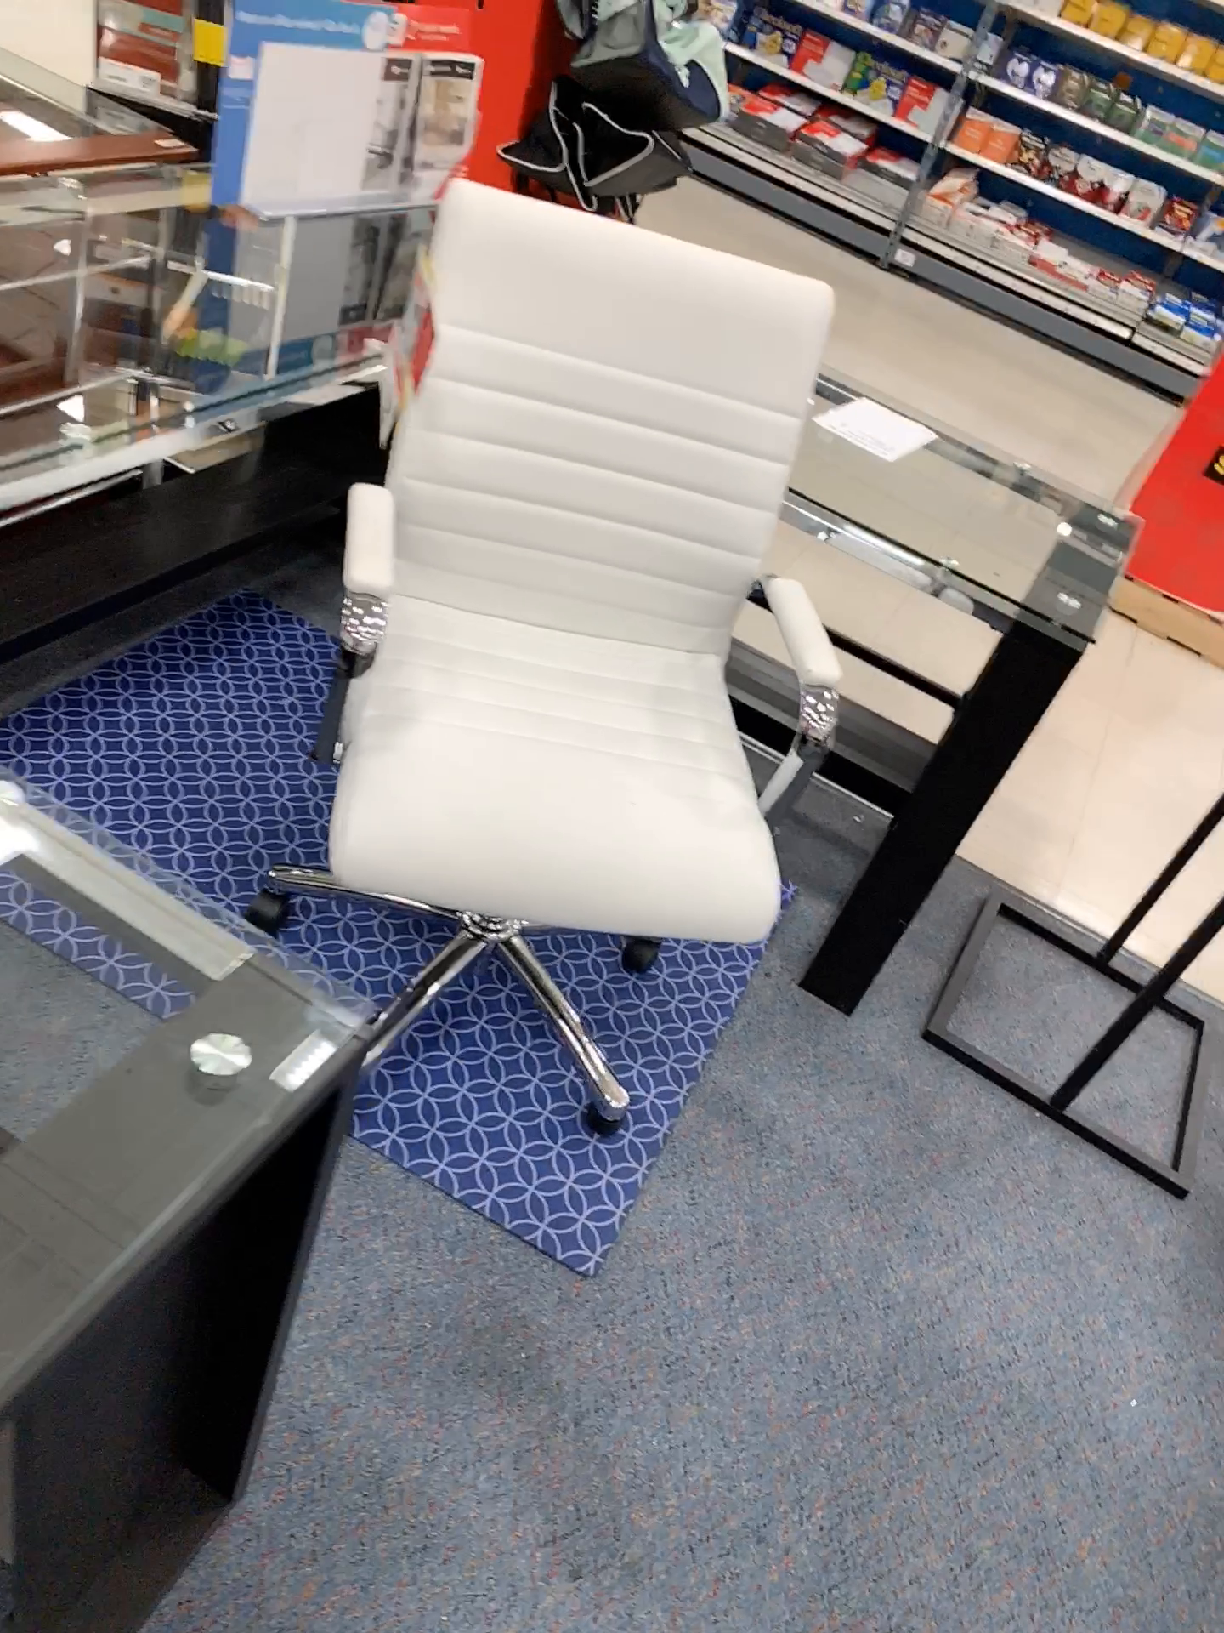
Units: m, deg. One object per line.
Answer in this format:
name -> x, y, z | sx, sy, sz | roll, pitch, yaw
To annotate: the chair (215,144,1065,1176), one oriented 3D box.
chair -> -0.083, -0.135, 1.539 | 0.614, 0.963, 0.664 | 8, 40, -17
